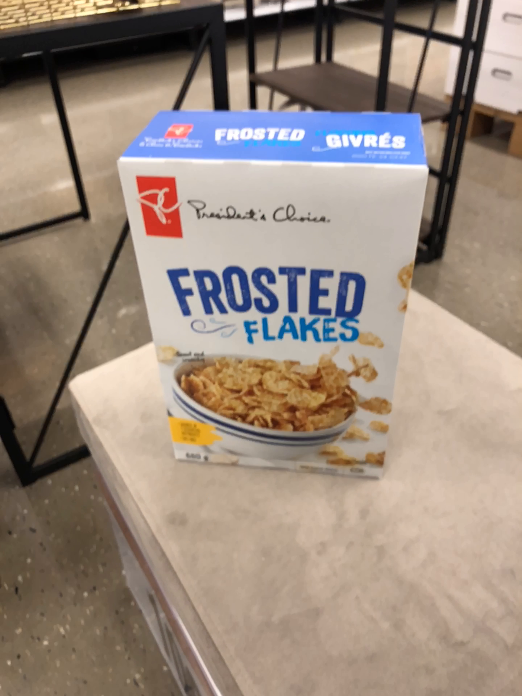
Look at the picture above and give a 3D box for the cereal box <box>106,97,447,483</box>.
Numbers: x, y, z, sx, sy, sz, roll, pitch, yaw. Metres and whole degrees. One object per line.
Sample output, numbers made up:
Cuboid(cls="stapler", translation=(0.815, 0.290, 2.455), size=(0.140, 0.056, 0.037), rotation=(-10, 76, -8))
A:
Cuboid(cls="cereal box", translation=(0.017, -0.033, 0.469), size=(0.200, 0.289, 0.100), rotation=(4, 40, 8))
